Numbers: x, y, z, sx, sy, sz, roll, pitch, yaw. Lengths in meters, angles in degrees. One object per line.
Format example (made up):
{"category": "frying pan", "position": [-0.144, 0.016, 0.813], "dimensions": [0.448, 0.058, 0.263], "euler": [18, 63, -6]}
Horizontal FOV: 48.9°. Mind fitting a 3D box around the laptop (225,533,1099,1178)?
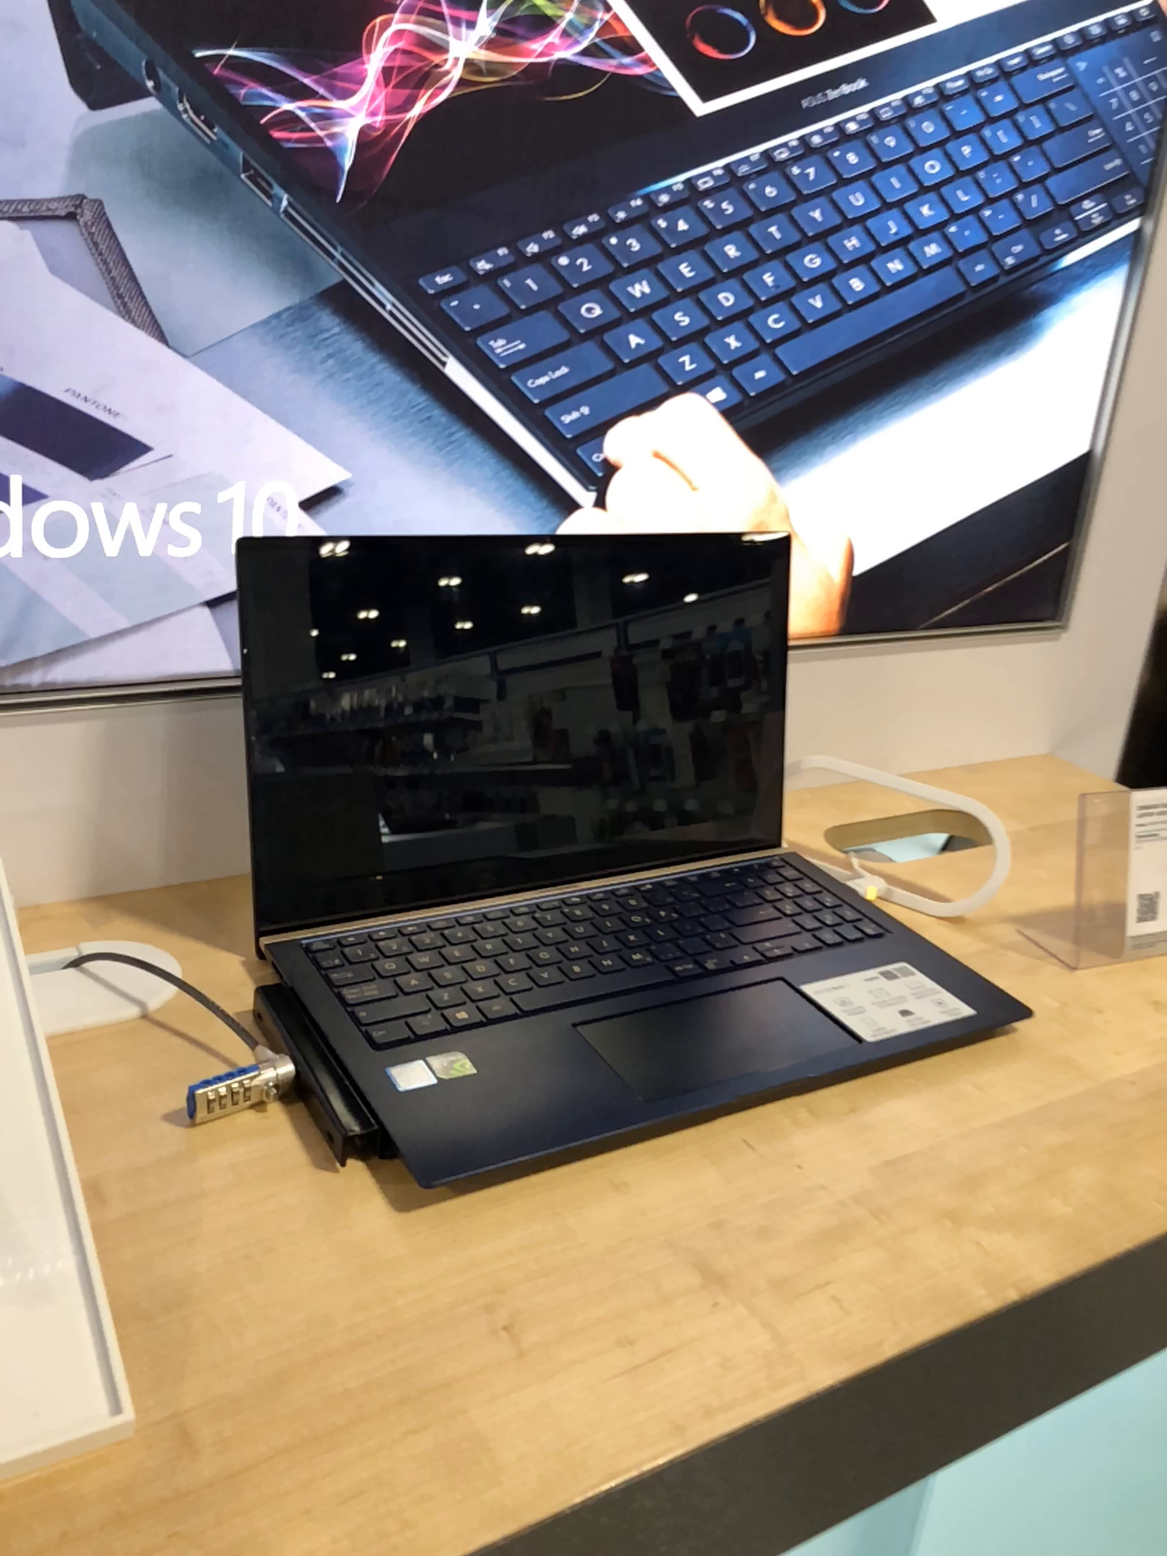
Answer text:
{"category": "laptop", "position": [0.022, 0.002, 0.644], "dimensions": [0.336, 0.196, 0.250], "euler": [-7, 23, -29]}
